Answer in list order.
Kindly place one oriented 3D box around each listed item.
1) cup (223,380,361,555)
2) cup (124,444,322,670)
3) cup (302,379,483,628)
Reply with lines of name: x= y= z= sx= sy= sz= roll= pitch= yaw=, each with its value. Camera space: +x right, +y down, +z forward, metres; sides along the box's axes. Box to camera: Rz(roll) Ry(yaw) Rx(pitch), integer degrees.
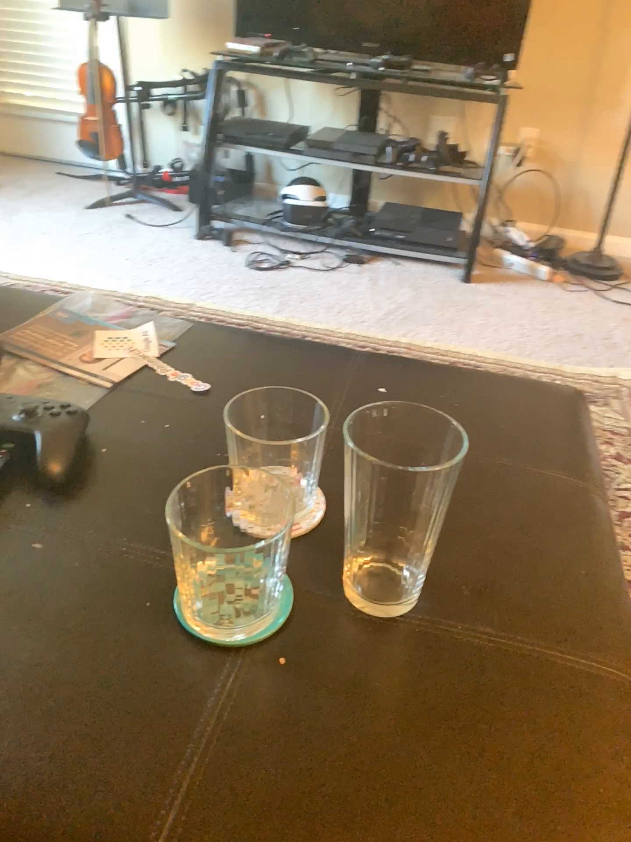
cup: x=-0.024 y=0.040 z=0.592 sx=0.090 sy=0.109 sz=0.080 roll=27 pitch=39 yaw=30
cup: x=-0.066 y=0.092 z=0.465 sx=0.100 sy=0.089 sz=0.090 roll=27 pitch=40 yaw=30
cup: x=0.054 y=0.059 z=0.482 sx=0.080 sy=0.139 sz=0.090 roll=27 pitch=39 yaw=30
